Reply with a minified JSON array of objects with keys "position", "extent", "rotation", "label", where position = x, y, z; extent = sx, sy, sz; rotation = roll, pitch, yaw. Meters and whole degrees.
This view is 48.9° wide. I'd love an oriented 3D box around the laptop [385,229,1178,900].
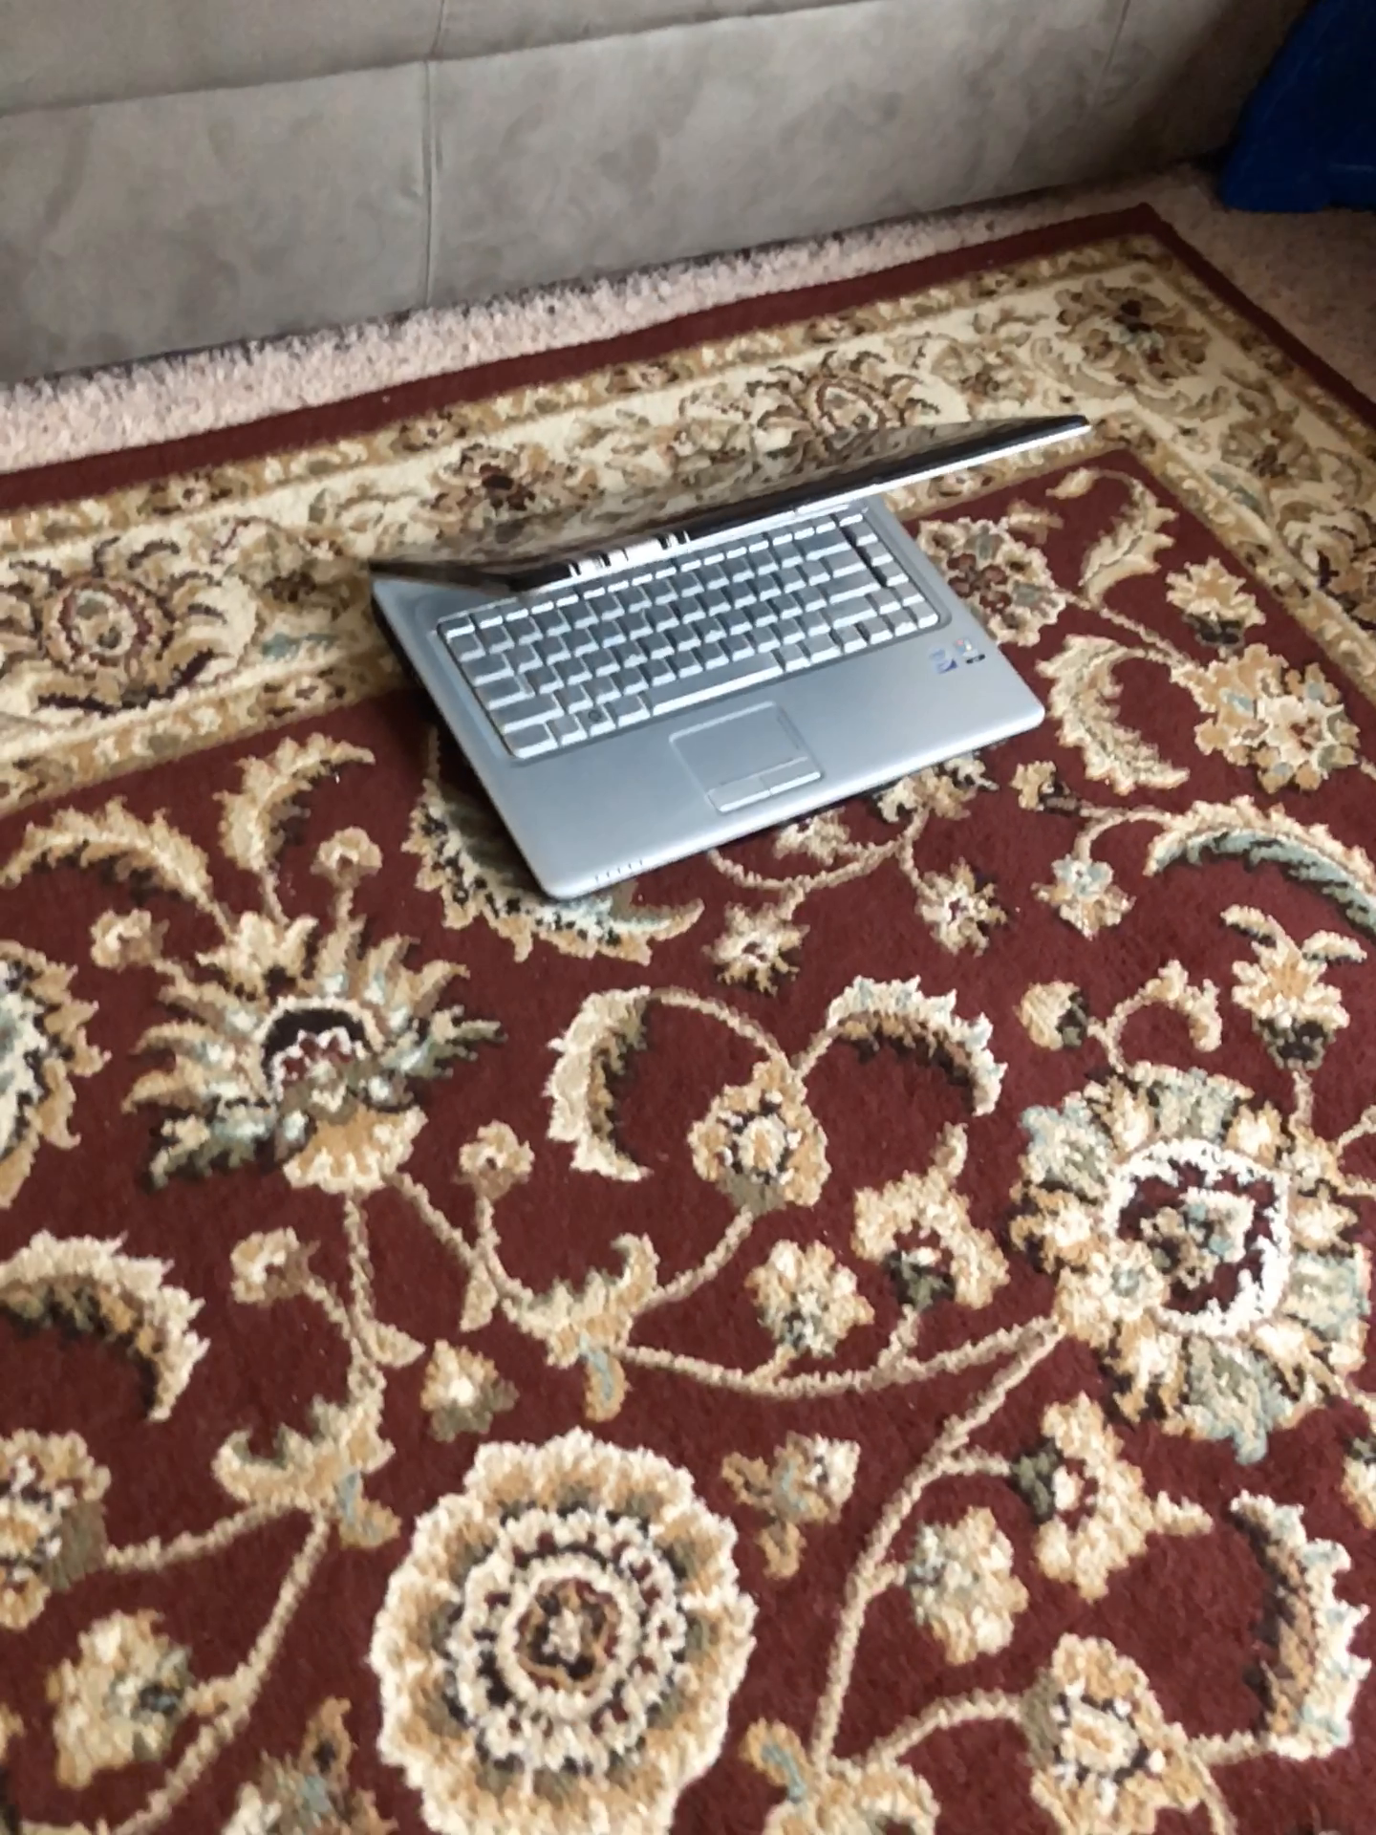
[{"position":[0.040,-0.208,0.844],"extent":[0.342,0.164,0.244],"rotation":[-22,64,-24],"label":"laptop"}]
